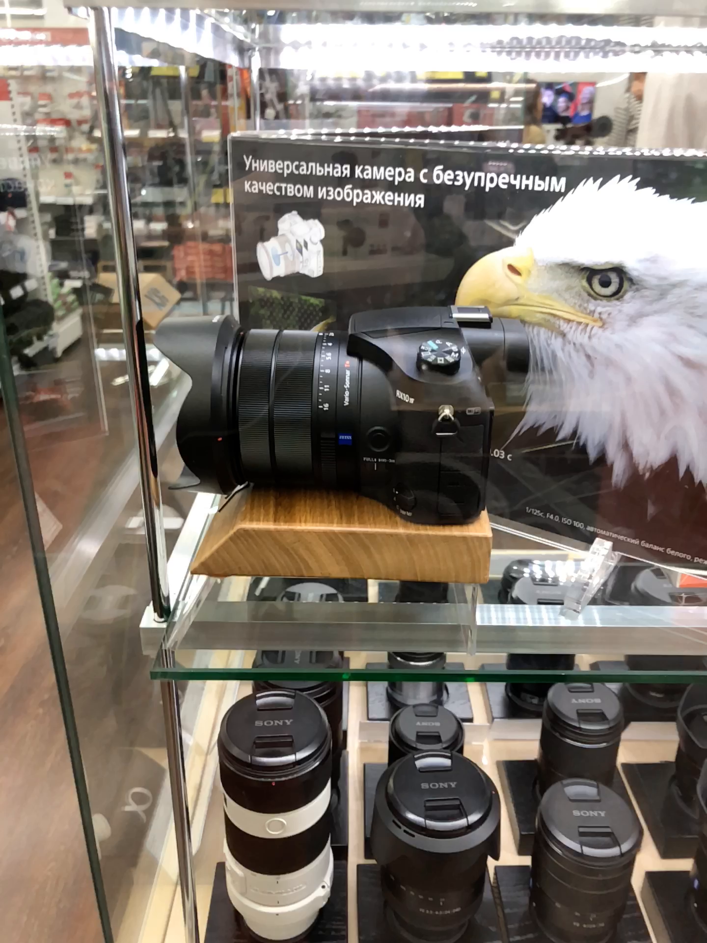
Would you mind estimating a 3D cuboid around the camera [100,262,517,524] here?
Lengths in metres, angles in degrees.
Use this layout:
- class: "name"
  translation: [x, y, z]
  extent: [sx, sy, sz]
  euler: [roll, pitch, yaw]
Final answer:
- class: "camera"
  translation: [-0.018, -0.048, 0.410]
  extent: [0.178, 0.099, 0.127]
  euler: [1, 24, 1]
